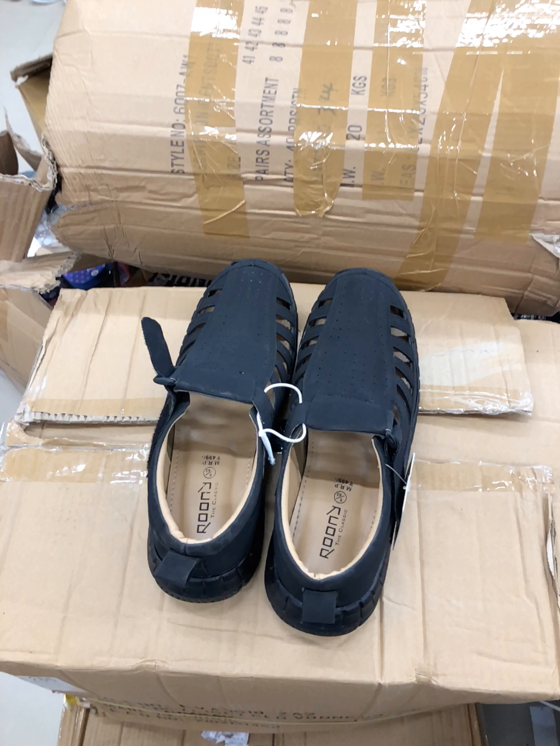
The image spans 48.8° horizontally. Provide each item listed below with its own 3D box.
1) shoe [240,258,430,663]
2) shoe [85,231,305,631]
[{"bbox_3d":[0.048,0.053,0.459,0.100,0.100,0.271,7,57,5],"label":"shoe"},{"bbox_3d":[-0.045,0.031,0.466,0.110,0.100,0.281,3,57,3],"label":"shoe"}]
